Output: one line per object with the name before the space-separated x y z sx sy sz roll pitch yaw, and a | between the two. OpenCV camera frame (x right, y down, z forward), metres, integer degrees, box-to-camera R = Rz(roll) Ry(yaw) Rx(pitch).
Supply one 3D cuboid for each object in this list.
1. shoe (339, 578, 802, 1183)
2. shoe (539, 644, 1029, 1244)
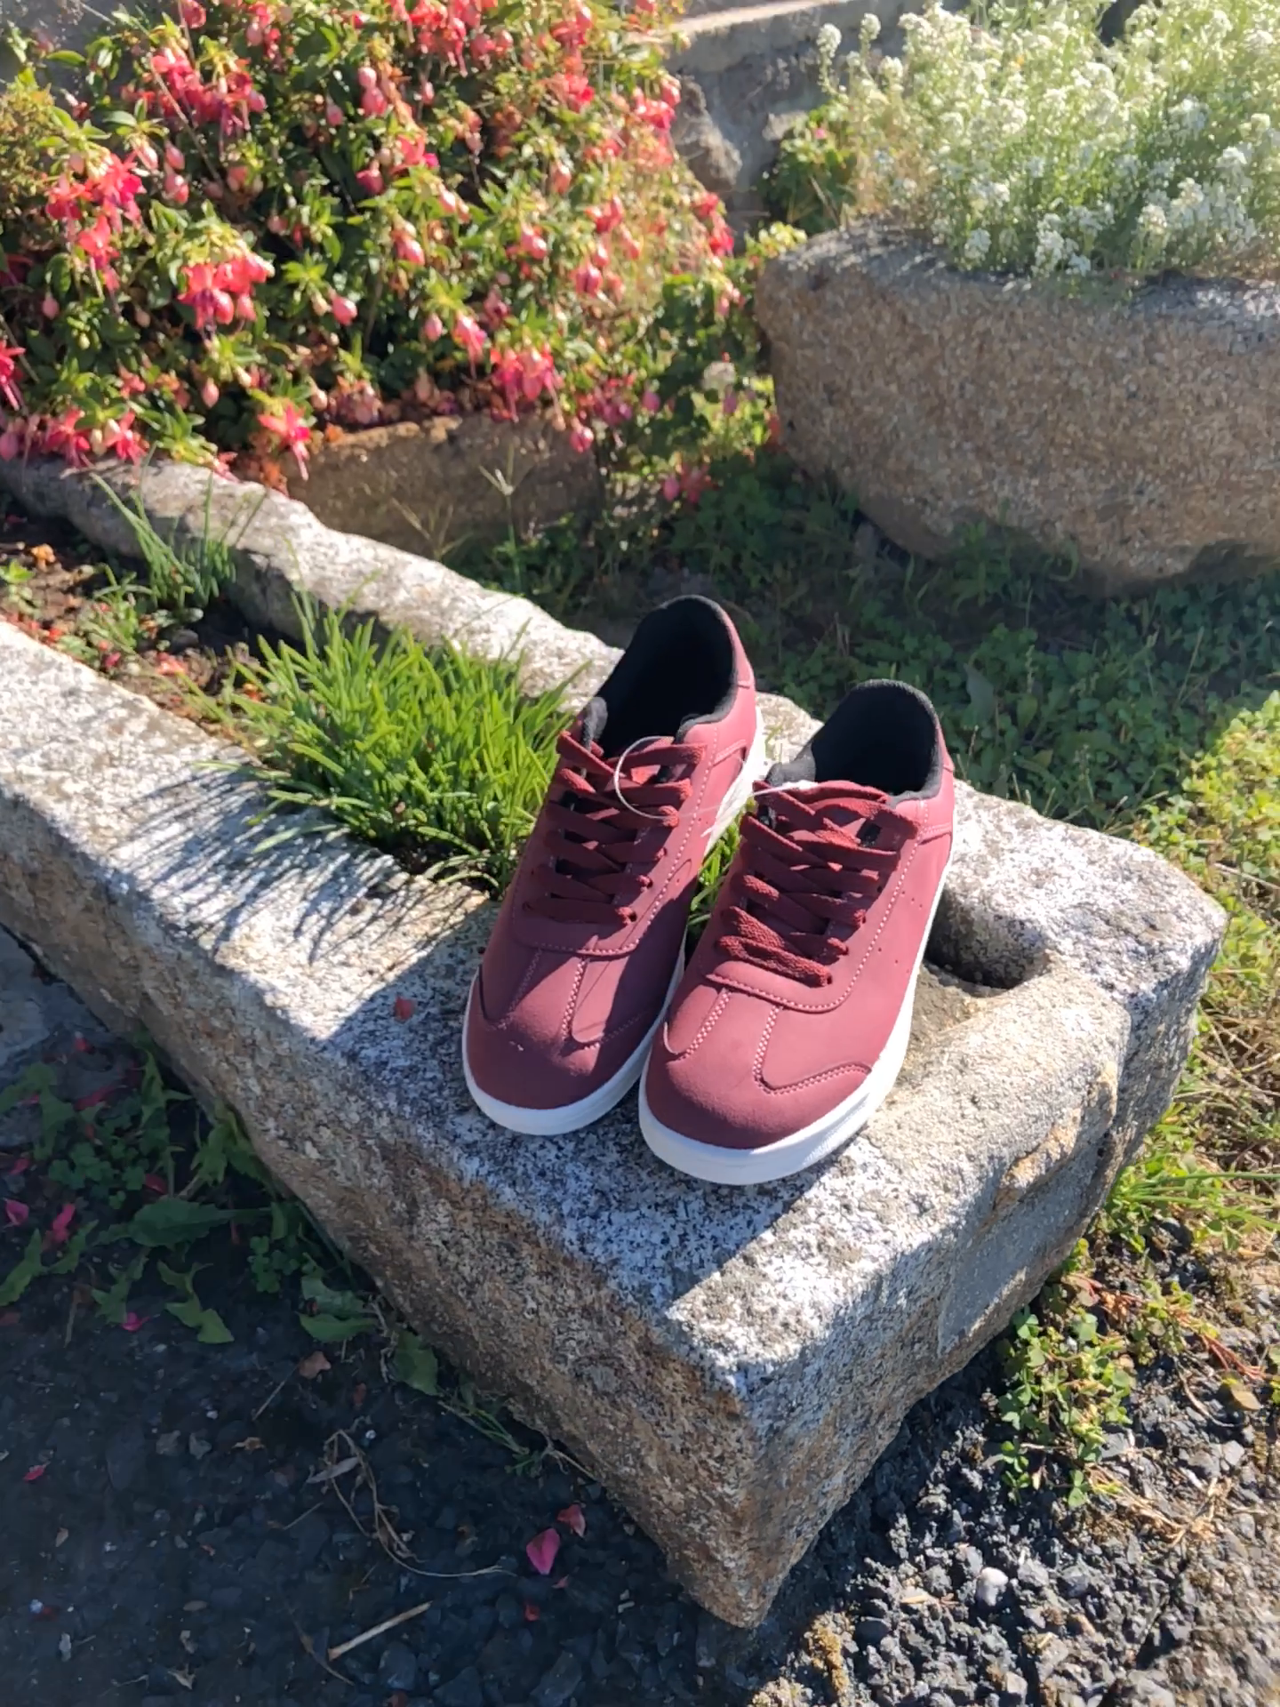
shoe | -0.015 -0.003 0.606 0.100 0.080 0.262 9 49 18
shoe | 0.071 0.018 0.568 0.100 0.080 0.262 13 39 23
